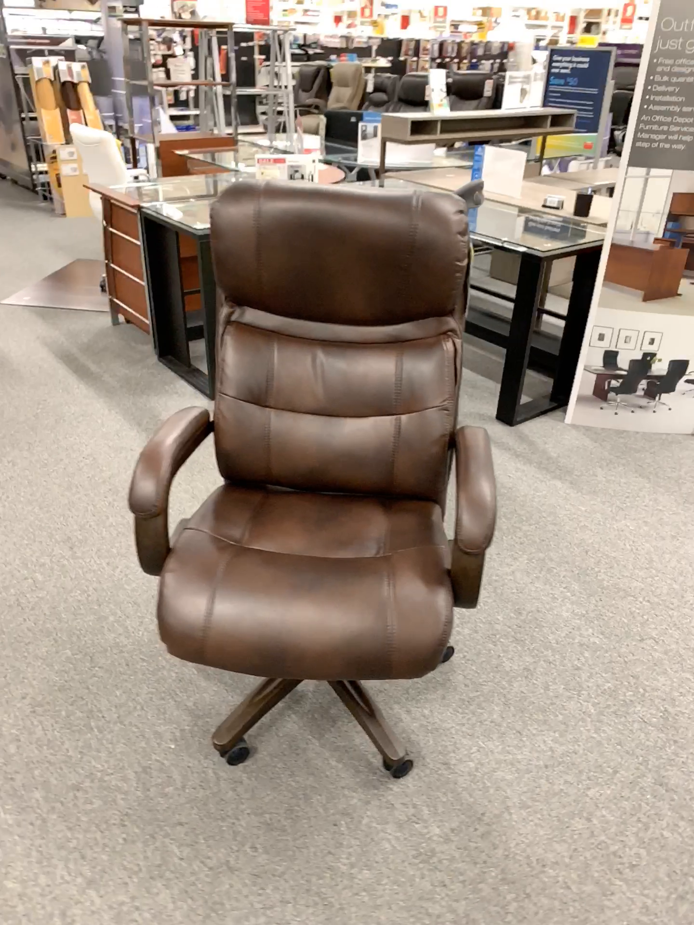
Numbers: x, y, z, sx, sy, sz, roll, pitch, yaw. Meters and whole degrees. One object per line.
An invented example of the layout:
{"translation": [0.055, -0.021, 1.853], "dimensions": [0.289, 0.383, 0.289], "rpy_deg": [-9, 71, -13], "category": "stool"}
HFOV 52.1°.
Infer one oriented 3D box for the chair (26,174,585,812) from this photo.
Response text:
{"translation": [-0.046, 0.040, 1.521], "dimensions": [0.750, 1.094, 0.704], "rpy_deg": [5, 31, 4], "category": "chair"}
